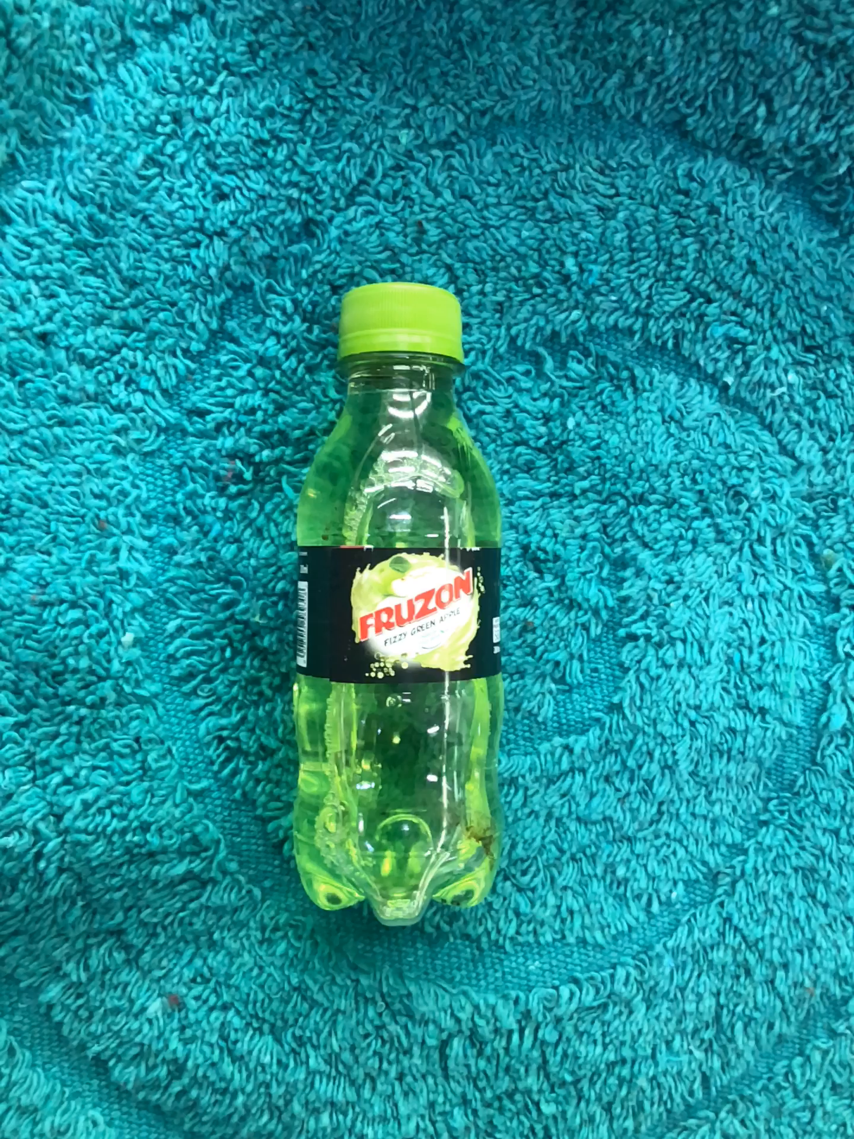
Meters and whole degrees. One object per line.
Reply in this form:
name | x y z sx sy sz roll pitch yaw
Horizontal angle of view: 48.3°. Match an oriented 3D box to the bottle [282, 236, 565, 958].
bottle | -0.004 0.007 0.240 0.060 0.050 0.160 1 93 -10
